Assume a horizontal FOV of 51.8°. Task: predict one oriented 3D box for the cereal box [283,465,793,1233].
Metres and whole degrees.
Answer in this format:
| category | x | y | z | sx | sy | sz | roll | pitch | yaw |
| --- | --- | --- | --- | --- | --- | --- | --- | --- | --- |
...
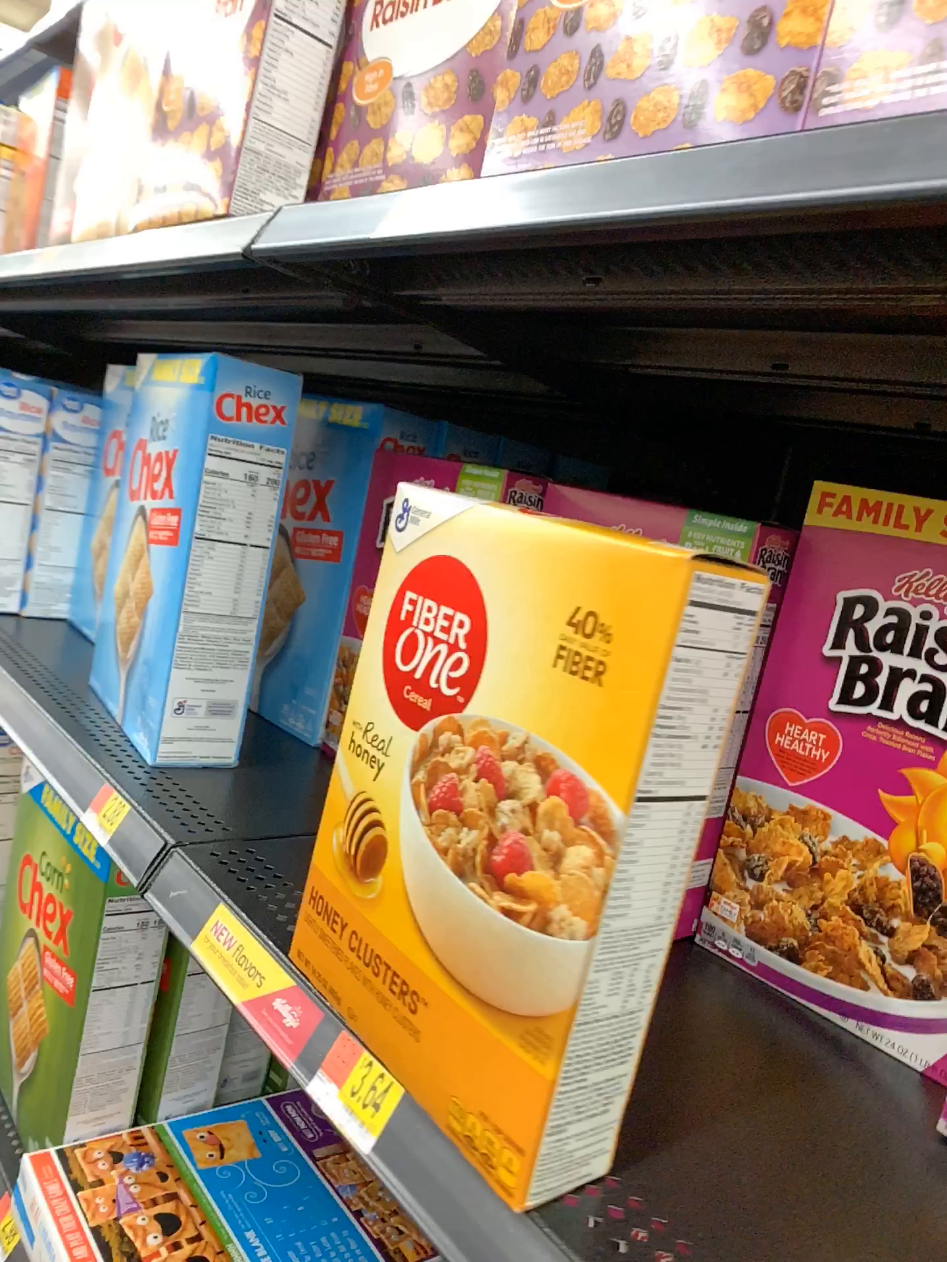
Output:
| category | x | y | z | sx | sy | sz | roll | pitch | yaw |
| --- | --- | --- | --- | --- | --- | --- | --- | --- | --- |
| cereal box | 0.008 | 0.071 | 0.431 | 0.050 | 0.260 | 0.200 | 7 | 9 | -39 |
